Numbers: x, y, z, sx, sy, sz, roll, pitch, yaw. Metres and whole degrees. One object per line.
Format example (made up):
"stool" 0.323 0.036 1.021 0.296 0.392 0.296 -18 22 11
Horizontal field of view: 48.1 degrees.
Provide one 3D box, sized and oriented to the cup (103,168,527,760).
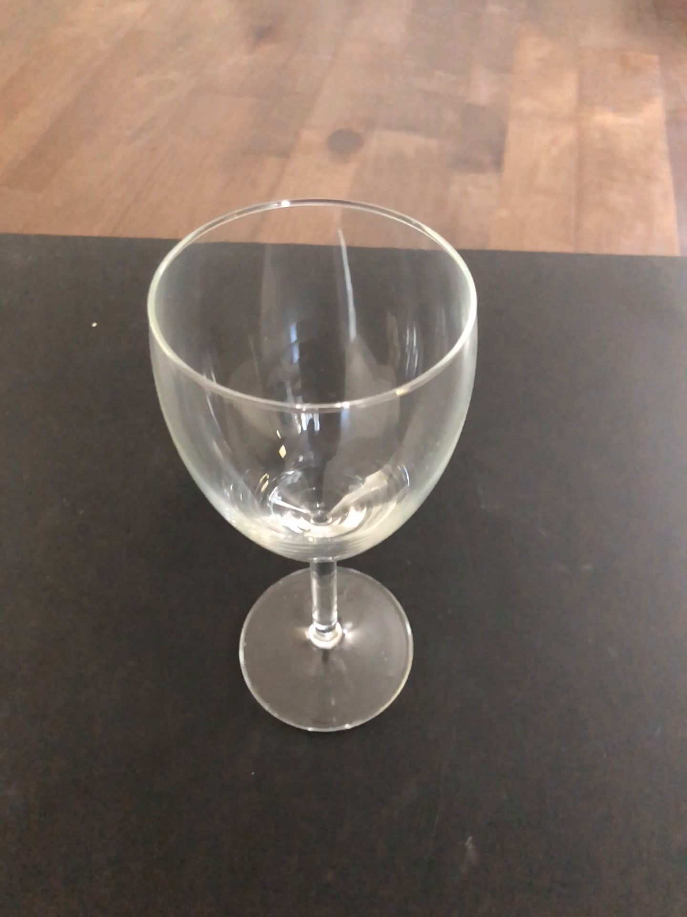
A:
"cup" -0.011 0.017 0.238 0.080 0.179 0.081 0 51 0
